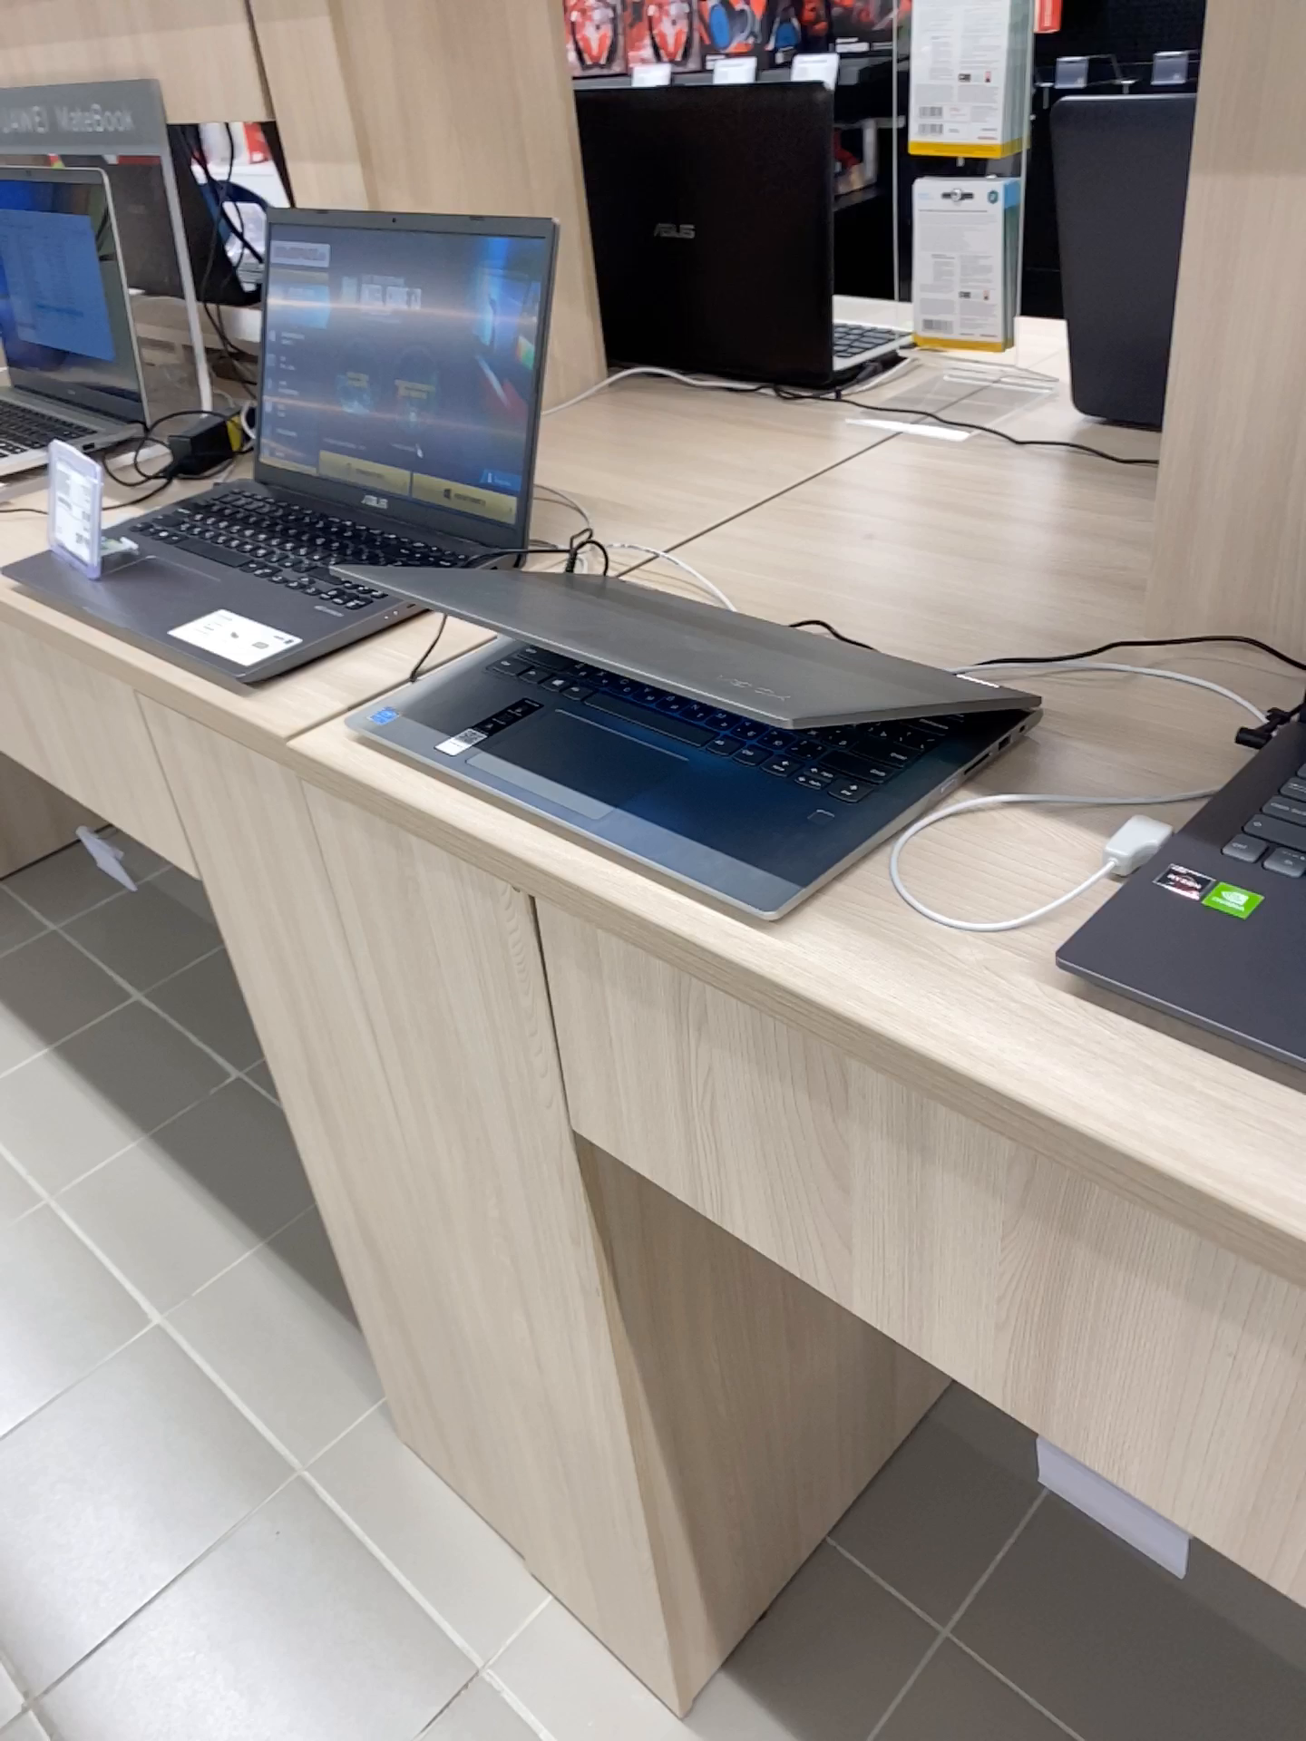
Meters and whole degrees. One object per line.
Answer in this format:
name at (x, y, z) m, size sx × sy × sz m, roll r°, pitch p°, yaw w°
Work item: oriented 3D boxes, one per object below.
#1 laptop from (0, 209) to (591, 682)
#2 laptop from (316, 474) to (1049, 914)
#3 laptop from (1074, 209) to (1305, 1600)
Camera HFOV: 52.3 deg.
laptop at (-0.291, -0.336, 0.975) m, size 0.353 × 0.212 × 0.308 m, roll 25°, pitch 45°, yaw 38°
laptop at (0.008, -0.119, 0.721) m, size 0.327 × 0.082 × 0.218 m, roll 24°, pitch 45°, yaw 39°
laptop at (0.397, -0.066, 0.442) m, size 0.391 × 0.215 × 0.303 m, roll 22°, pitch 44°, yaw 36°
